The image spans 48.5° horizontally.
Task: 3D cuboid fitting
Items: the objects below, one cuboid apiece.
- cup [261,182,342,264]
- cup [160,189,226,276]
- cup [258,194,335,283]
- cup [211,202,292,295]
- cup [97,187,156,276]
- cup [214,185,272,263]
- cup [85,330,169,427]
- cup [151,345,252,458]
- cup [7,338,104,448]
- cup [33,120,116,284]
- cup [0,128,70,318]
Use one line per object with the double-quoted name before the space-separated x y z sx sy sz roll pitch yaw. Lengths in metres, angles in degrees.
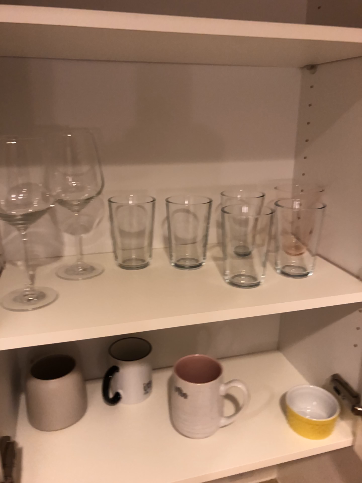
"cup" 0.214 -0.037 0.729 0.090 0.119 0.100 -6 18 -18
"cup" 0.017 -0.019 0.675 0.080 0.119 0.090 -6 18 -20
"cup" 0.184 -0.009 0.653 0.080 0.119 0.080 0 17 0
"cup" 0.102 0.006 0.604 0.080 0.110 0.090 -6 18 -20
"cup" -0.097 -0.021 0.708 0.080 0.129 0.090 -6 18 -20
"cup" 0.110 -0.034 0.730 0.070 0.119 0.080 -6 18 -20
"cup" -0.095 0.247 0.749 0.090 0.090 0.141 8 19 24
"cup" 0.034 0.253 0.654 0.140 0.110 0.090 6 18 19
"cup" -0.222 0.256 0.706 0.110 0.090 0.140 -13 22 -37
"cup" -0.181 -0.072 0.687 0.110 0.259 0.090 -6 18 -20
"cup" -0.231 -0.032 0.577 0.110 0.249 0.090 -6 18 -20
